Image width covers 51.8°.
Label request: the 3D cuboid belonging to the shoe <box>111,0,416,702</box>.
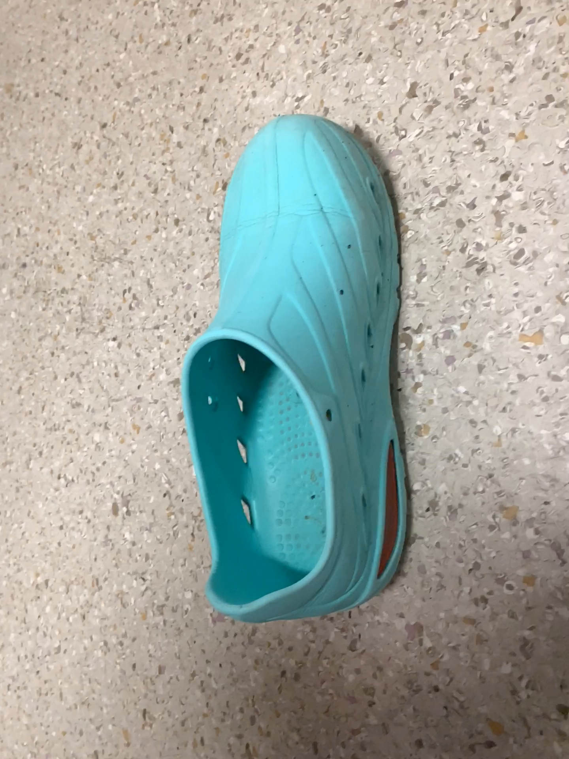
[{"bbox_3d":[-0.012,-0.014,0.298,0.106,0.105,0.275,-6,84,38],"label":"shoe"}]
